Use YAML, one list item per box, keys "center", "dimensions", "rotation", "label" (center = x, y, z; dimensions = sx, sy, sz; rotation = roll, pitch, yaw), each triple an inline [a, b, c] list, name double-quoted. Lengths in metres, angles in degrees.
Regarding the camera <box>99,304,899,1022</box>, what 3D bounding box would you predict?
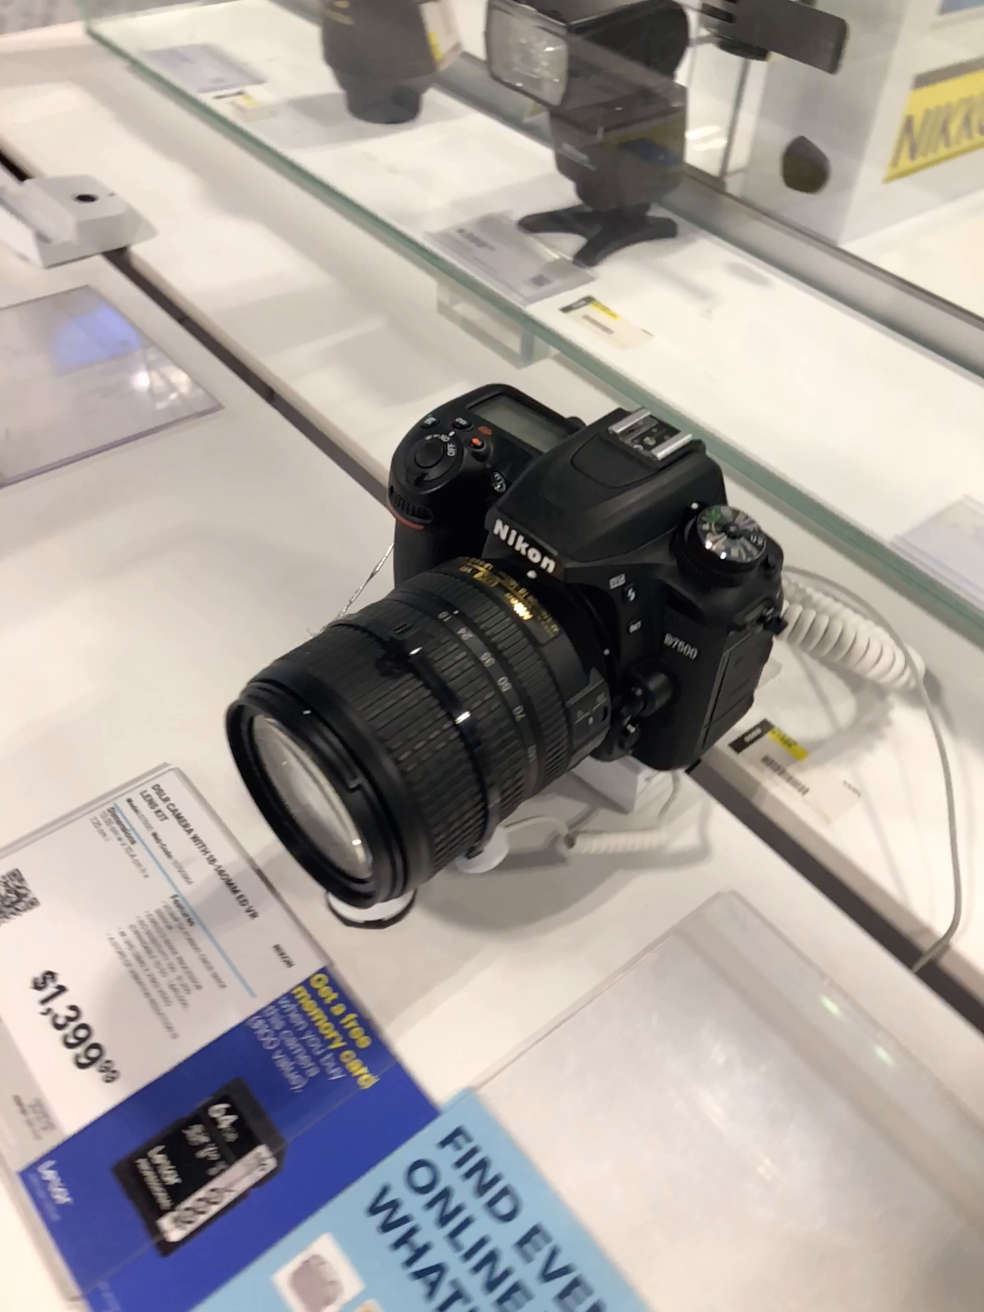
- center: [0.005, -0.014, 0.348]
  dimensions: [0.191, 0.089, 0.140]
  rotation: [-34, 57, -31]
  label: "camera"
